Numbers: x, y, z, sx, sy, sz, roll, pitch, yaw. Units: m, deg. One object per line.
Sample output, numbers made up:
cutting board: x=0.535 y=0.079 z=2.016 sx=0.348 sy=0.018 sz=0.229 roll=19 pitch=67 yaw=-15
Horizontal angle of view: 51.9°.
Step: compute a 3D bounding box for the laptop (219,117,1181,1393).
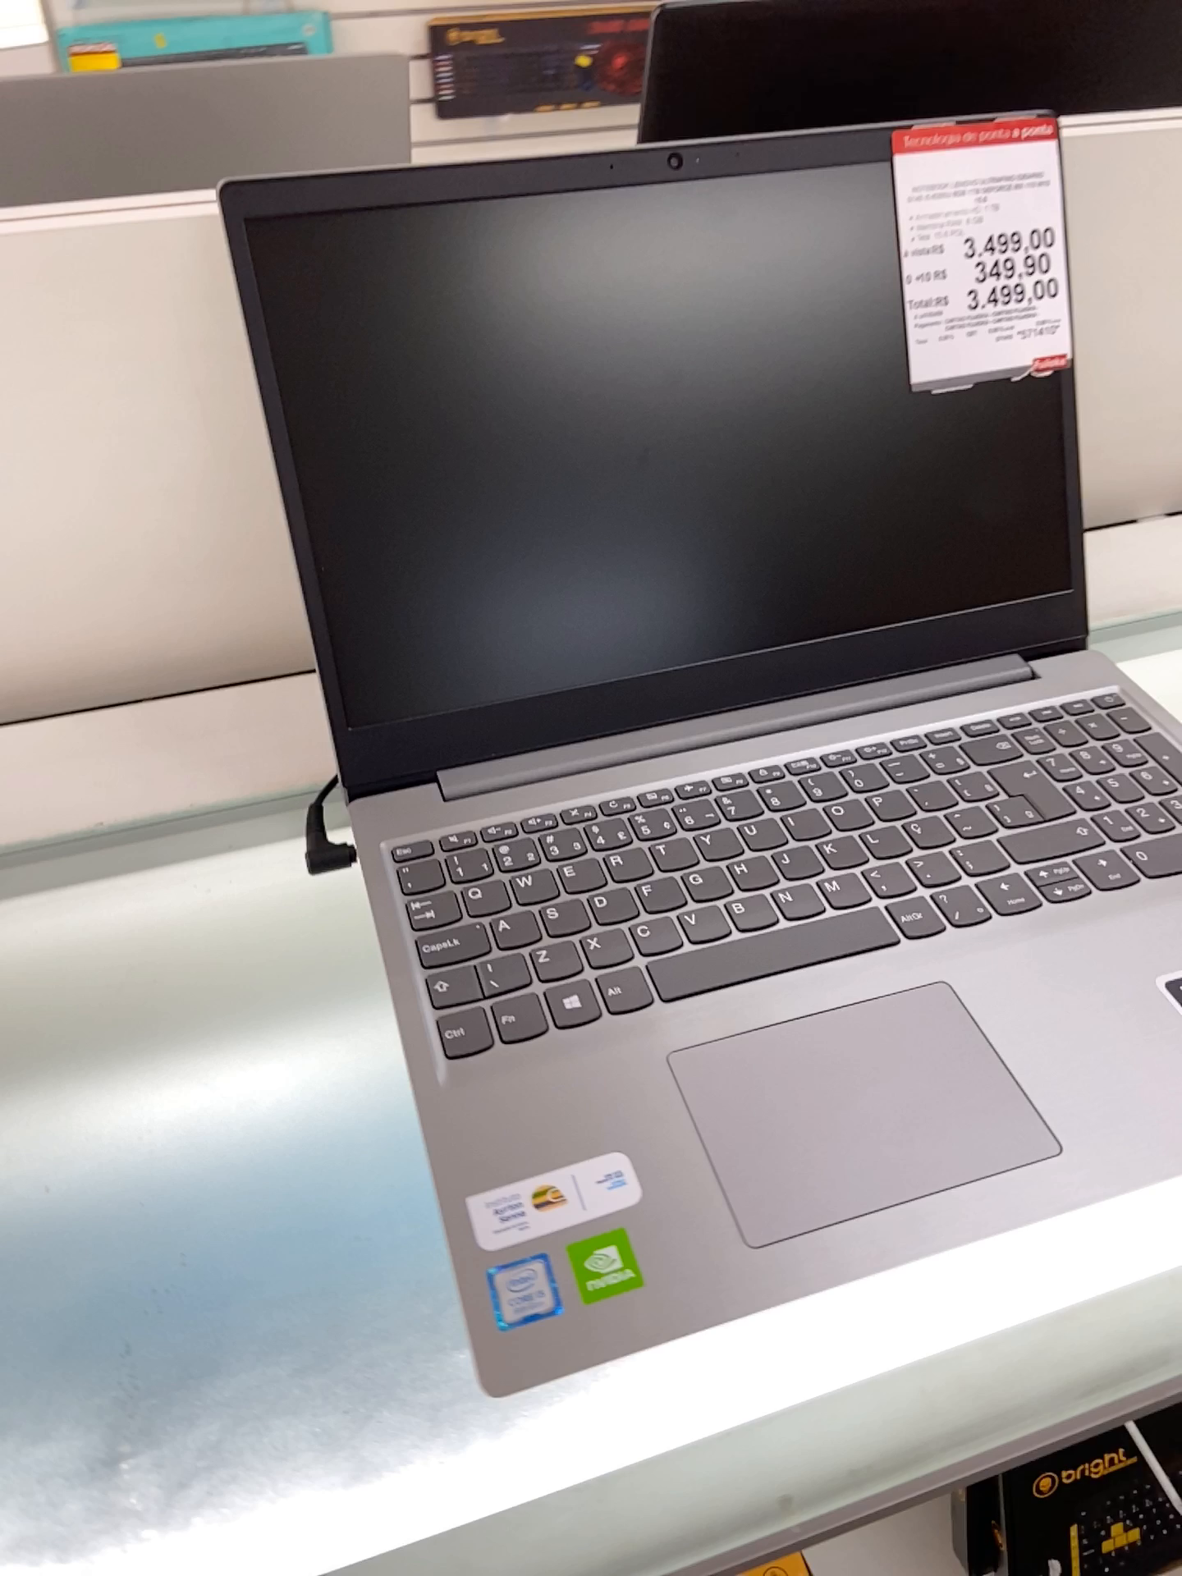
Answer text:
laptop: x=0.090 y=-0.068 z=0.426 sx=0.360 sy=0.201 sz=0.367 roll=-12 pitch=43 yaw=-13
